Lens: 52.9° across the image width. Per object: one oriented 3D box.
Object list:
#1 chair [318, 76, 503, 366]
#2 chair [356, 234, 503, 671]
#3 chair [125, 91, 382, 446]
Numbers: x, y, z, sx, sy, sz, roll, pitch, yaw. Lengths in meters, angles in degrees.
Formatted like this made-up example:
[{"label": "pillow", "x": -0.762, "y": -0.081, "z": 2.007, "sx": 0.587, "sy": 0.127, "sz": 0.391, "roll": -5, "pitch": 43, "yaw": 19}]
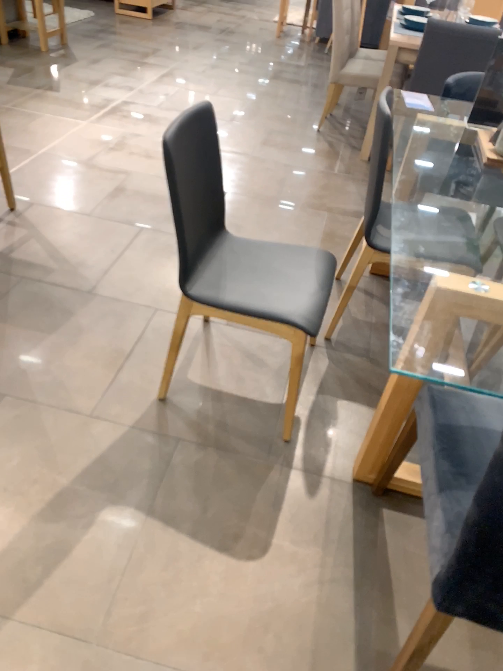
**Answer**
[{"label": "chair", "x": 0.605, "y": -0.417, "z": 1.895, "sx": 0.496, "sy": 0.833, "sz": 0.527, "roll": 13, "pitch": 40, "yaw": 6}, {"label": "chair", "x": 0.584, "y": 0.344, "z": 1.022, "sx": 0.542, "sy": 0.813, "sz": 0.592, "roll": 10, "pitch": 40, "yaw": 2}, {"label": "chair", "x": 0.004, "y": -0.204, "z": 1.569, "sx": 0.536, "sy": 0.813, "sz": 0.568, "roll": 15, "pitch": 40, "yaw": 8}]
